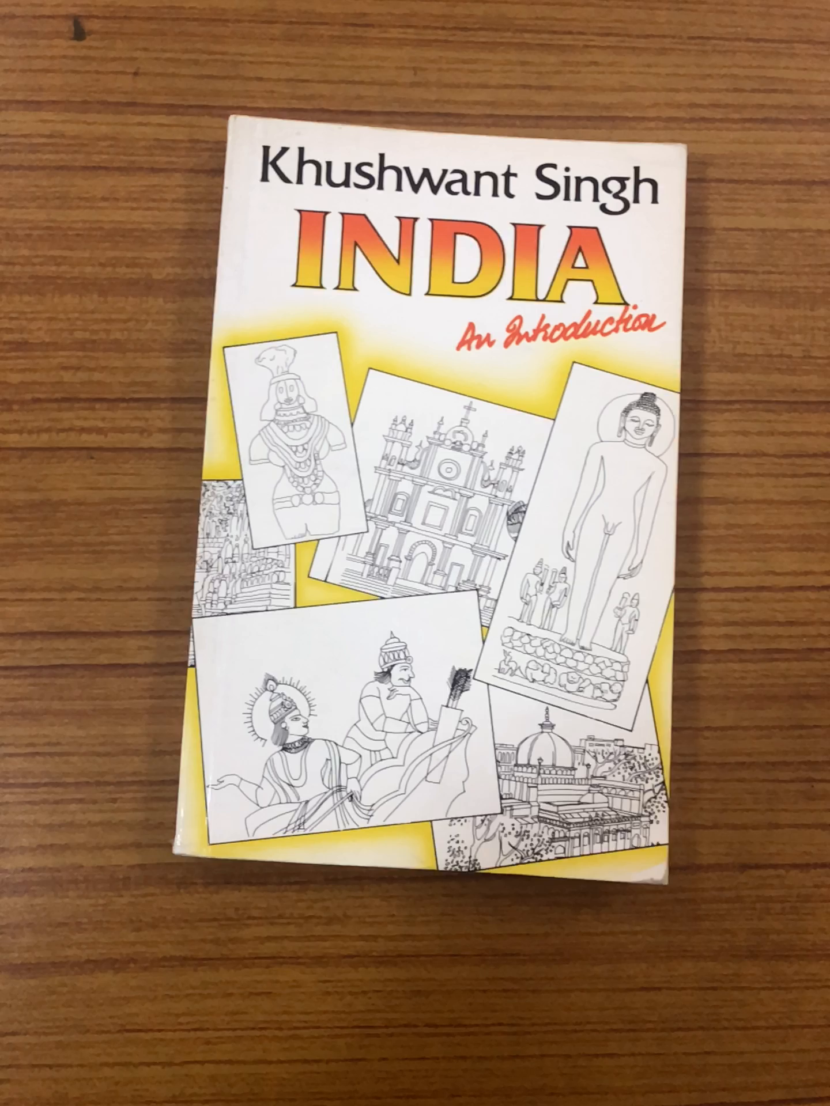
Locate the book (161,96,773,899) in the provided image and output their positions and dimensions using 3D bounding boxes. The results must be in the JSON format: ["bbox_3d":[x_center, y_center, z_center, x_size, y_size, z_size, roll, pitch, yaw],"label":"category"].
[{"bbox_3d":[0.016,-0.016,0.237,0.140,0.020,0.190,4,84,-2],"label":"book"}]
